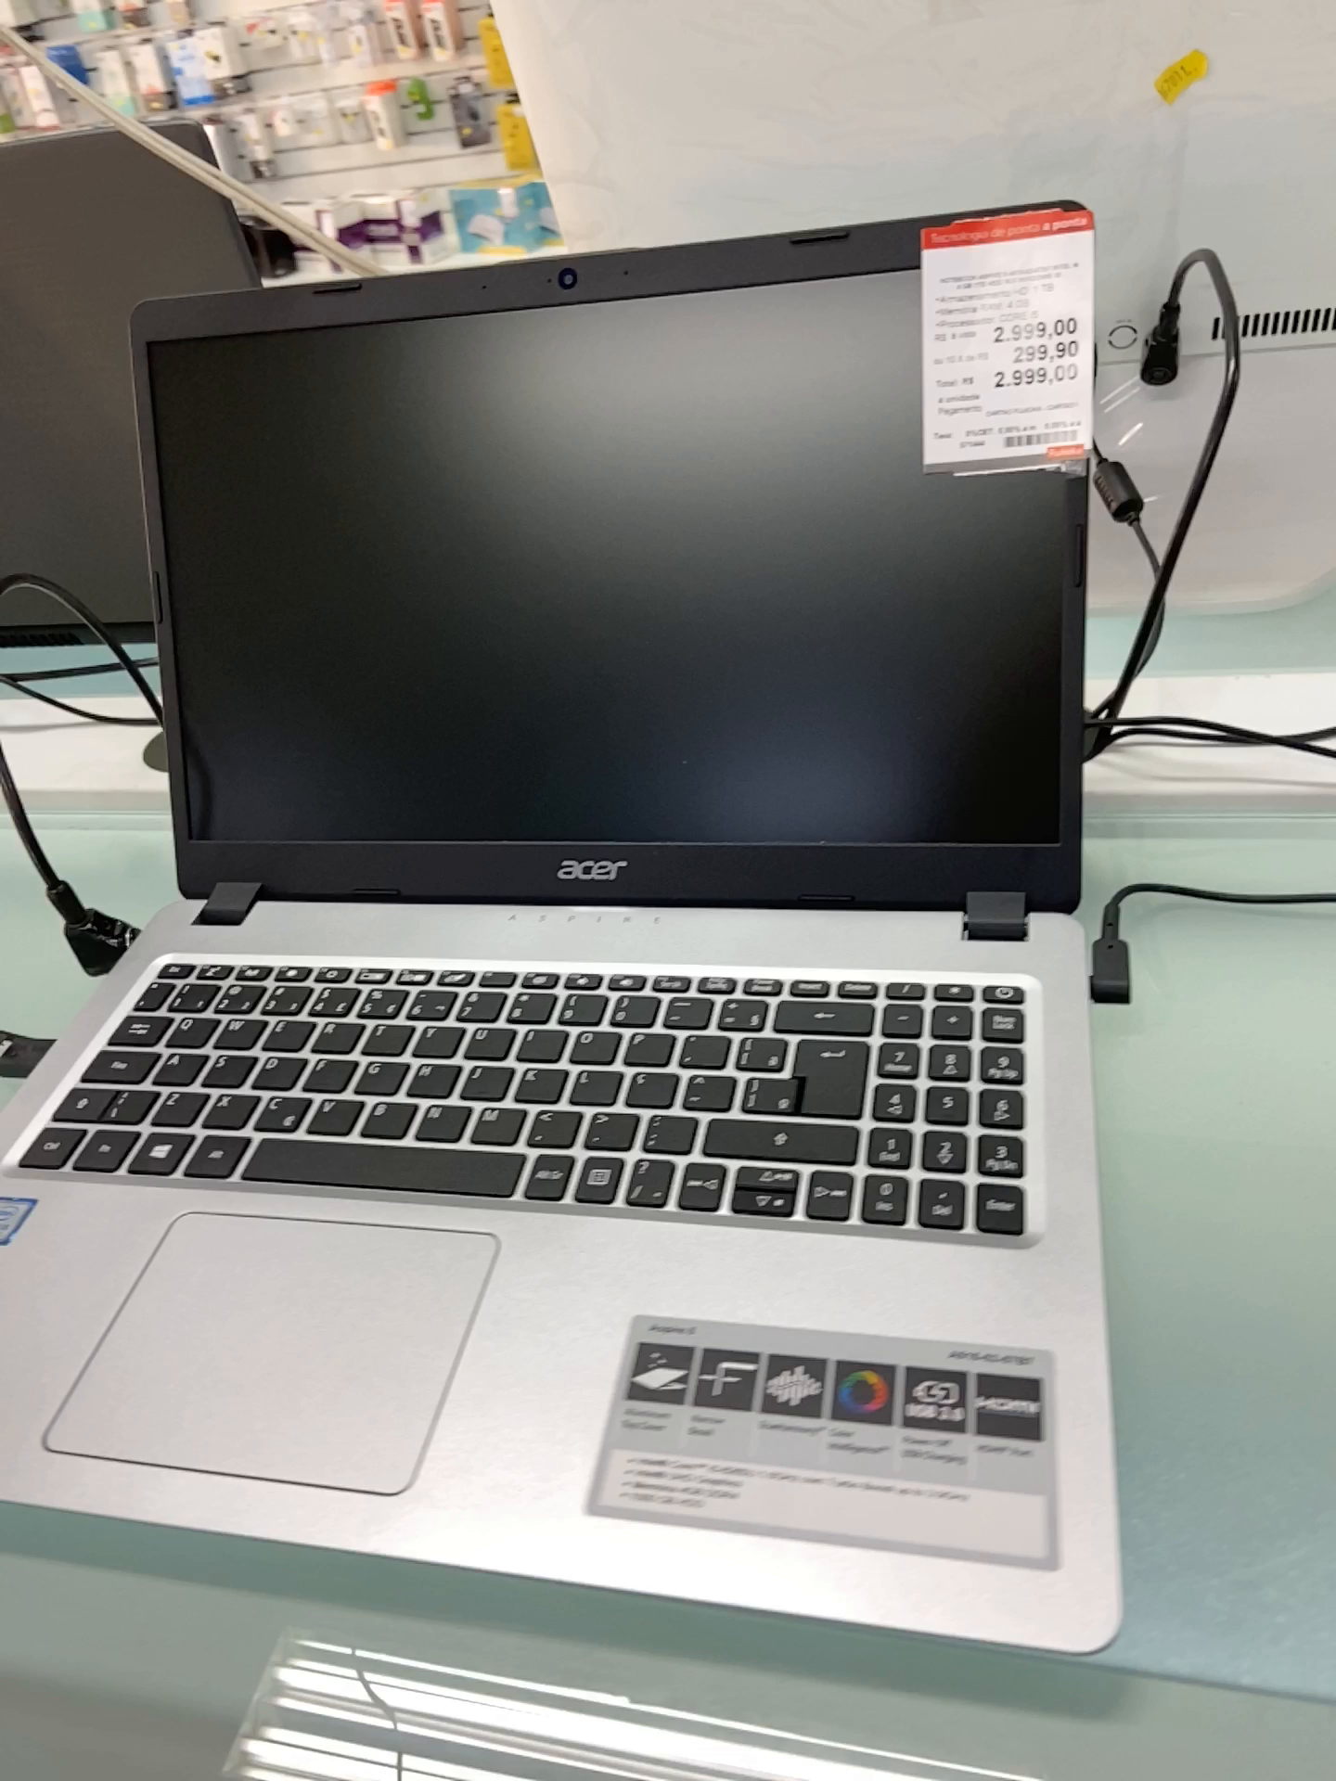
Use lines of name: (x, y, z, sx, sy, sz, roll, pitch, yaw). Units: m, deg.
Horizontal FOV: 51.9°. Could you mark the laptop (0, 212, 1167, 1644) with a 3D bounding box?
laptop: (-0.060, -0.032, 0.418, 0.365, 0.204, 0.366, 0, 37, 15)
